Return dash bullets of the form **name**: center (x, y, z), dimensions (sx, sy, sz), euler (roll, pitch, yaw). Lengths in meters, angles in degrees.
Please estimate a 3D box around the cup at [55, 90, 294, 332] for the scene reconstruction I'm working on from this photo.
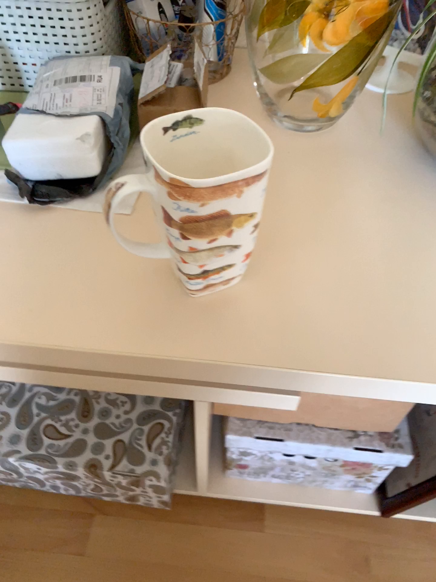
- **cup**: center (-0.035, -0.064, 0.359), dimensions (0.140, 0.129, 0.101), euler (-16, 52, -16)
